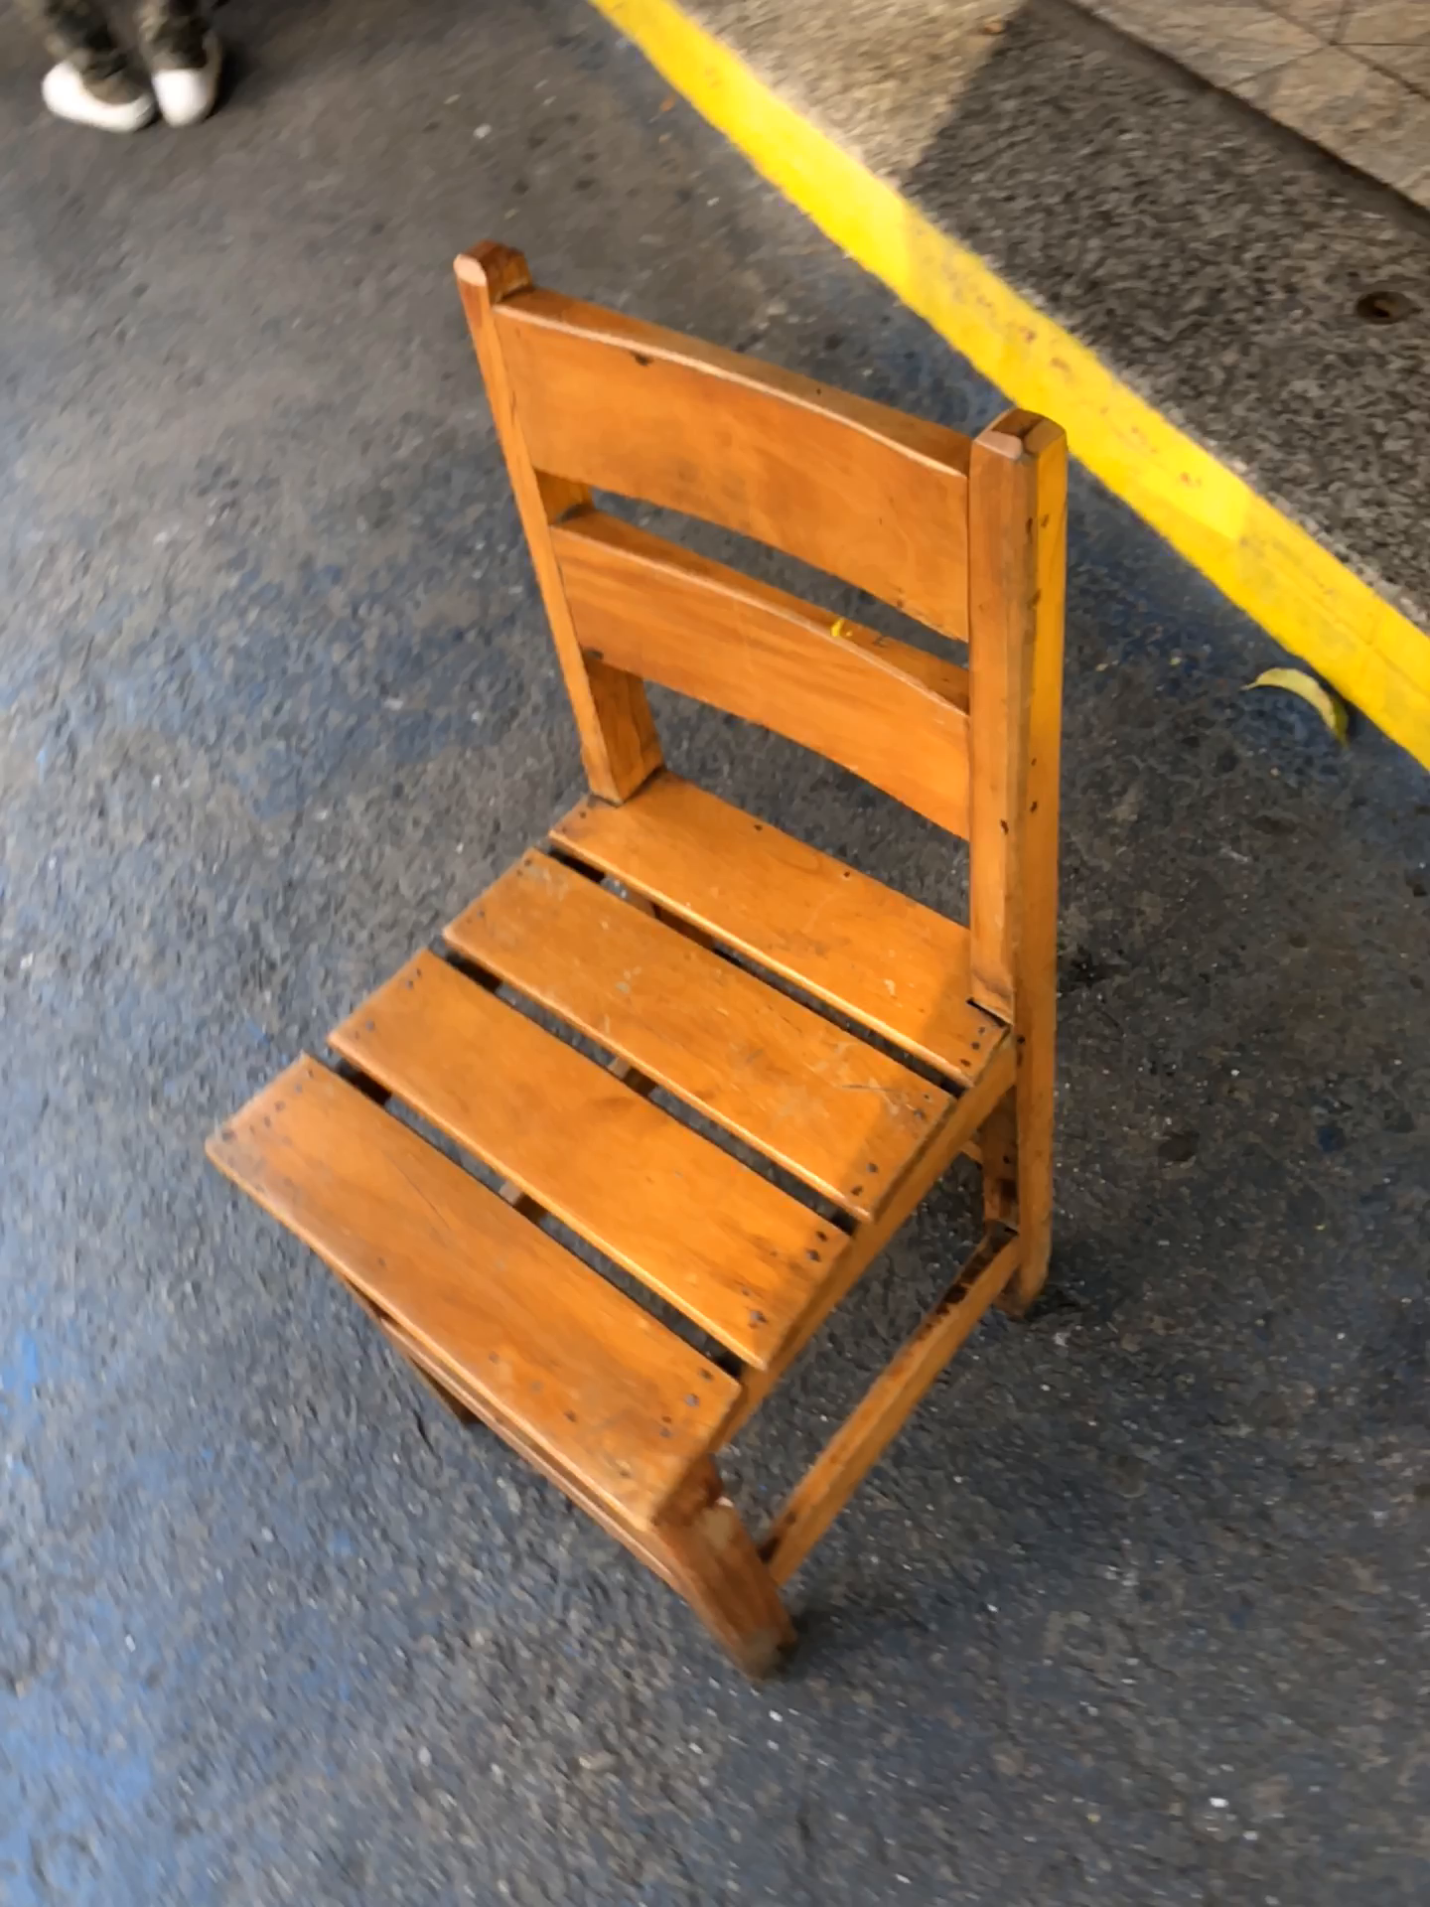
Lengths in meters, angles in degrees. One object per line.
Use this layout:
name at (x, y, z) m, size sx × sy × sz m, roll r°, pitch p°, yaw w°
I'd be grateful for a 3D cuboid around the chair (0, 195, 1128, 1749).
chair at (-0.057, 0.080, 0.960) m, size 0.401 × 0.805 × 0.441 m, roll 31°, pitch 66°, yaw 30°
